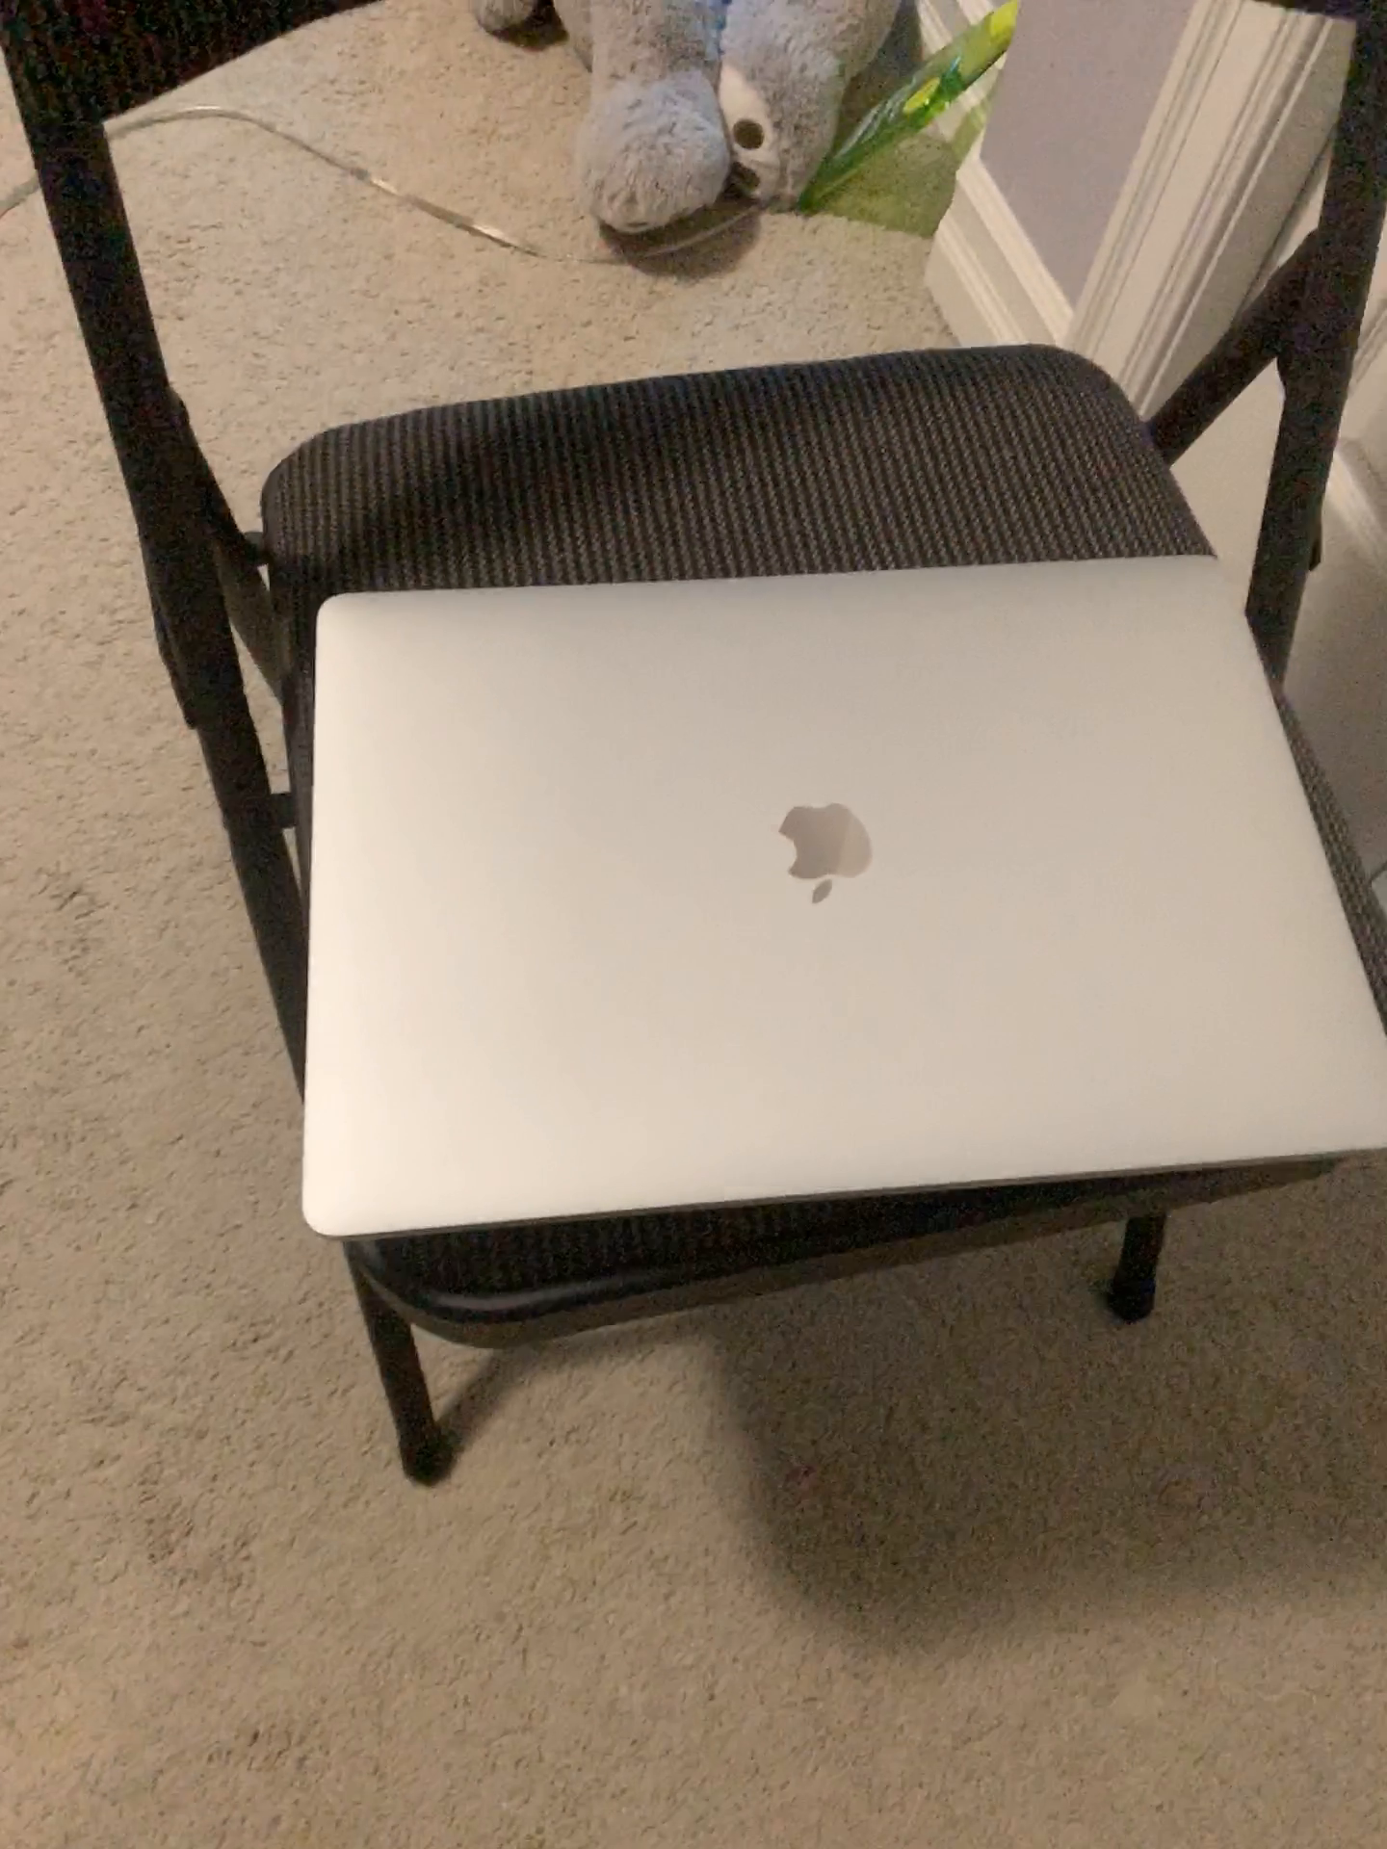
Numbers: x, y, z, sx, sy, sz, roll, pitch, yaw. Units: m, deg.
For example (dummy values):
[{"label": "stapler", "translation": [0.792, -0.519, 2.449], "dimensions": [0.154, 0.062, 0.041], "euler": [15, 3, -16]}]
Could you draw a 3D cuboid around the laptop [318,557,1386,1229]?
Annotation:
[{"label": "laptop", "translation": [0.044, -0.024, 0.472], "dimensions": [0.332, 0.001, 0.224], "euler": [-4, 66, -5]}]
